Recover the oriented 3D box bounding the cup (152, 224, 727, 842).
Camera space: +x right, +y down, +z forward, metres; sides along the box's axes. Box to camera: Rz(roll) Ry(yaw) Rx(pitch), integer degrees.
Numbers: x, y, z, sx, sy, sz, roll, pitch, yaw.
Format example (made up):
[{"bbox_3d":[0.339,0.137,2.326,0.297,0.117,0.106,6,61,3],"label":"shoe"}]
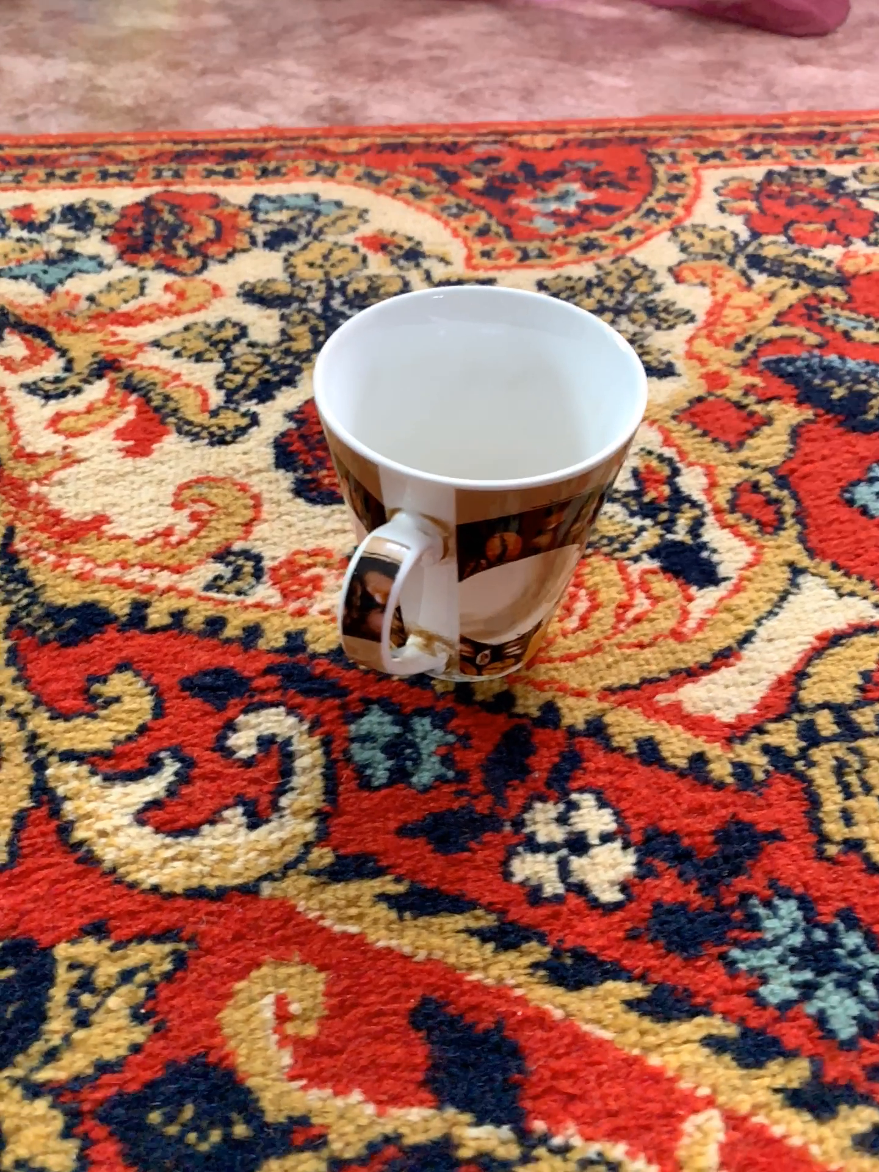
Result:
[{"bbox_3d":[0.006,-0.019,0.223,0.080,0.079,0.111,21,49,18],"label":"cup"}]
